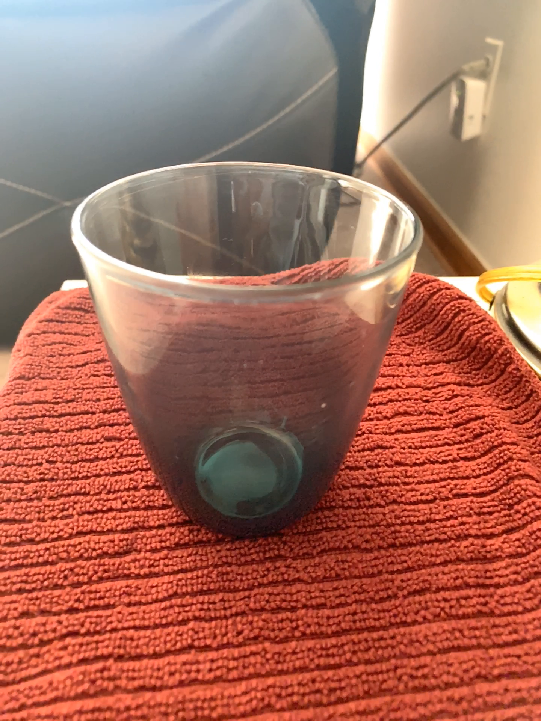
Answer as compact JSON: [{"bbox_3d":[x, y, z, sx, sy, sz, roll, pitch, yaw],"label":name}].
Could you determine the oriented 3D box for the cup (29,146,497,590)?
[{"bbox_3d":[-0.009,-0.009,0.157,0.084,0.070,0.087,2,35,-2],"label":"cup"}]
